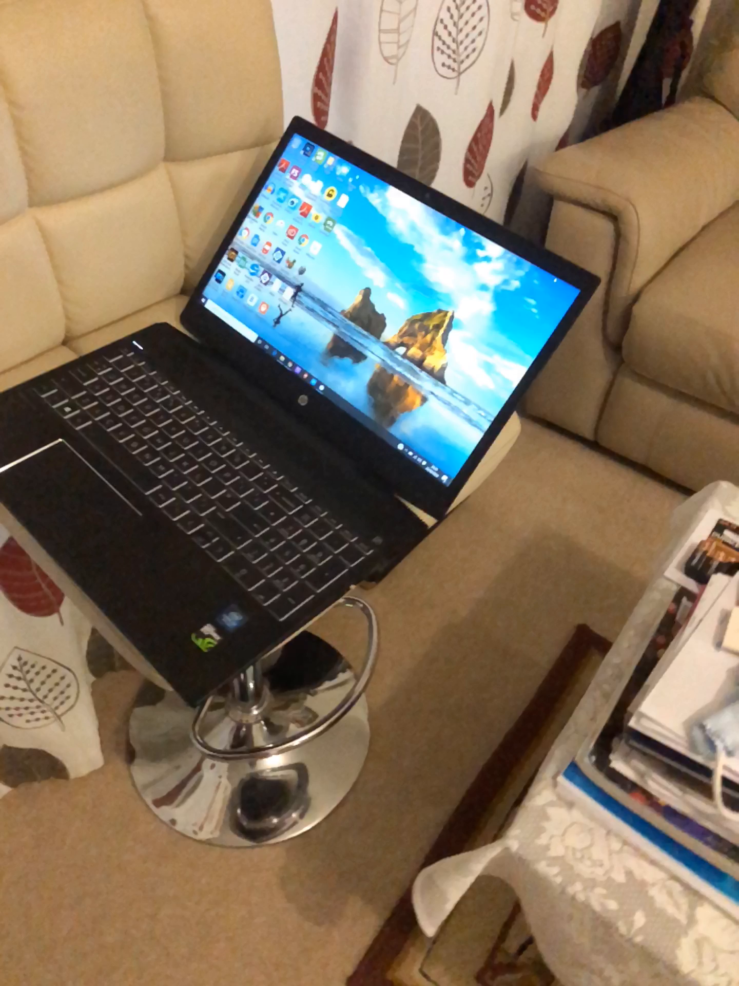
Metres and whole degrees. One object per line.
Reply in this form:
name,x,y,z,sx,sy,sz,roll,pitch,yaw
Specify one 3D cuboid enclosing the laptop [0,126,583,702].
laptop,-0.099,-0.110,0.653,0.348,0.159,0.402,37,52,25
